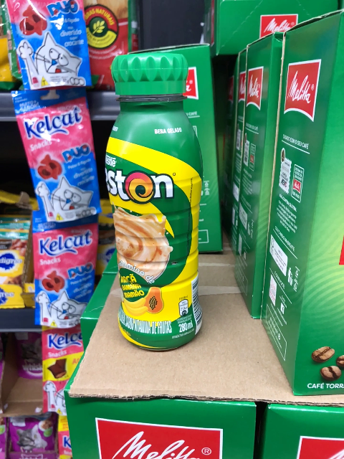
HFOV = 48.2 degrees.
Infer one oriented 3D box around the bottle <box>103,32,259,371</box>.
[{"bbox_3d":[0.004,-0.016,0.236,0.060,0.179,0.060,0,19,0],"label":"bottle"}]
